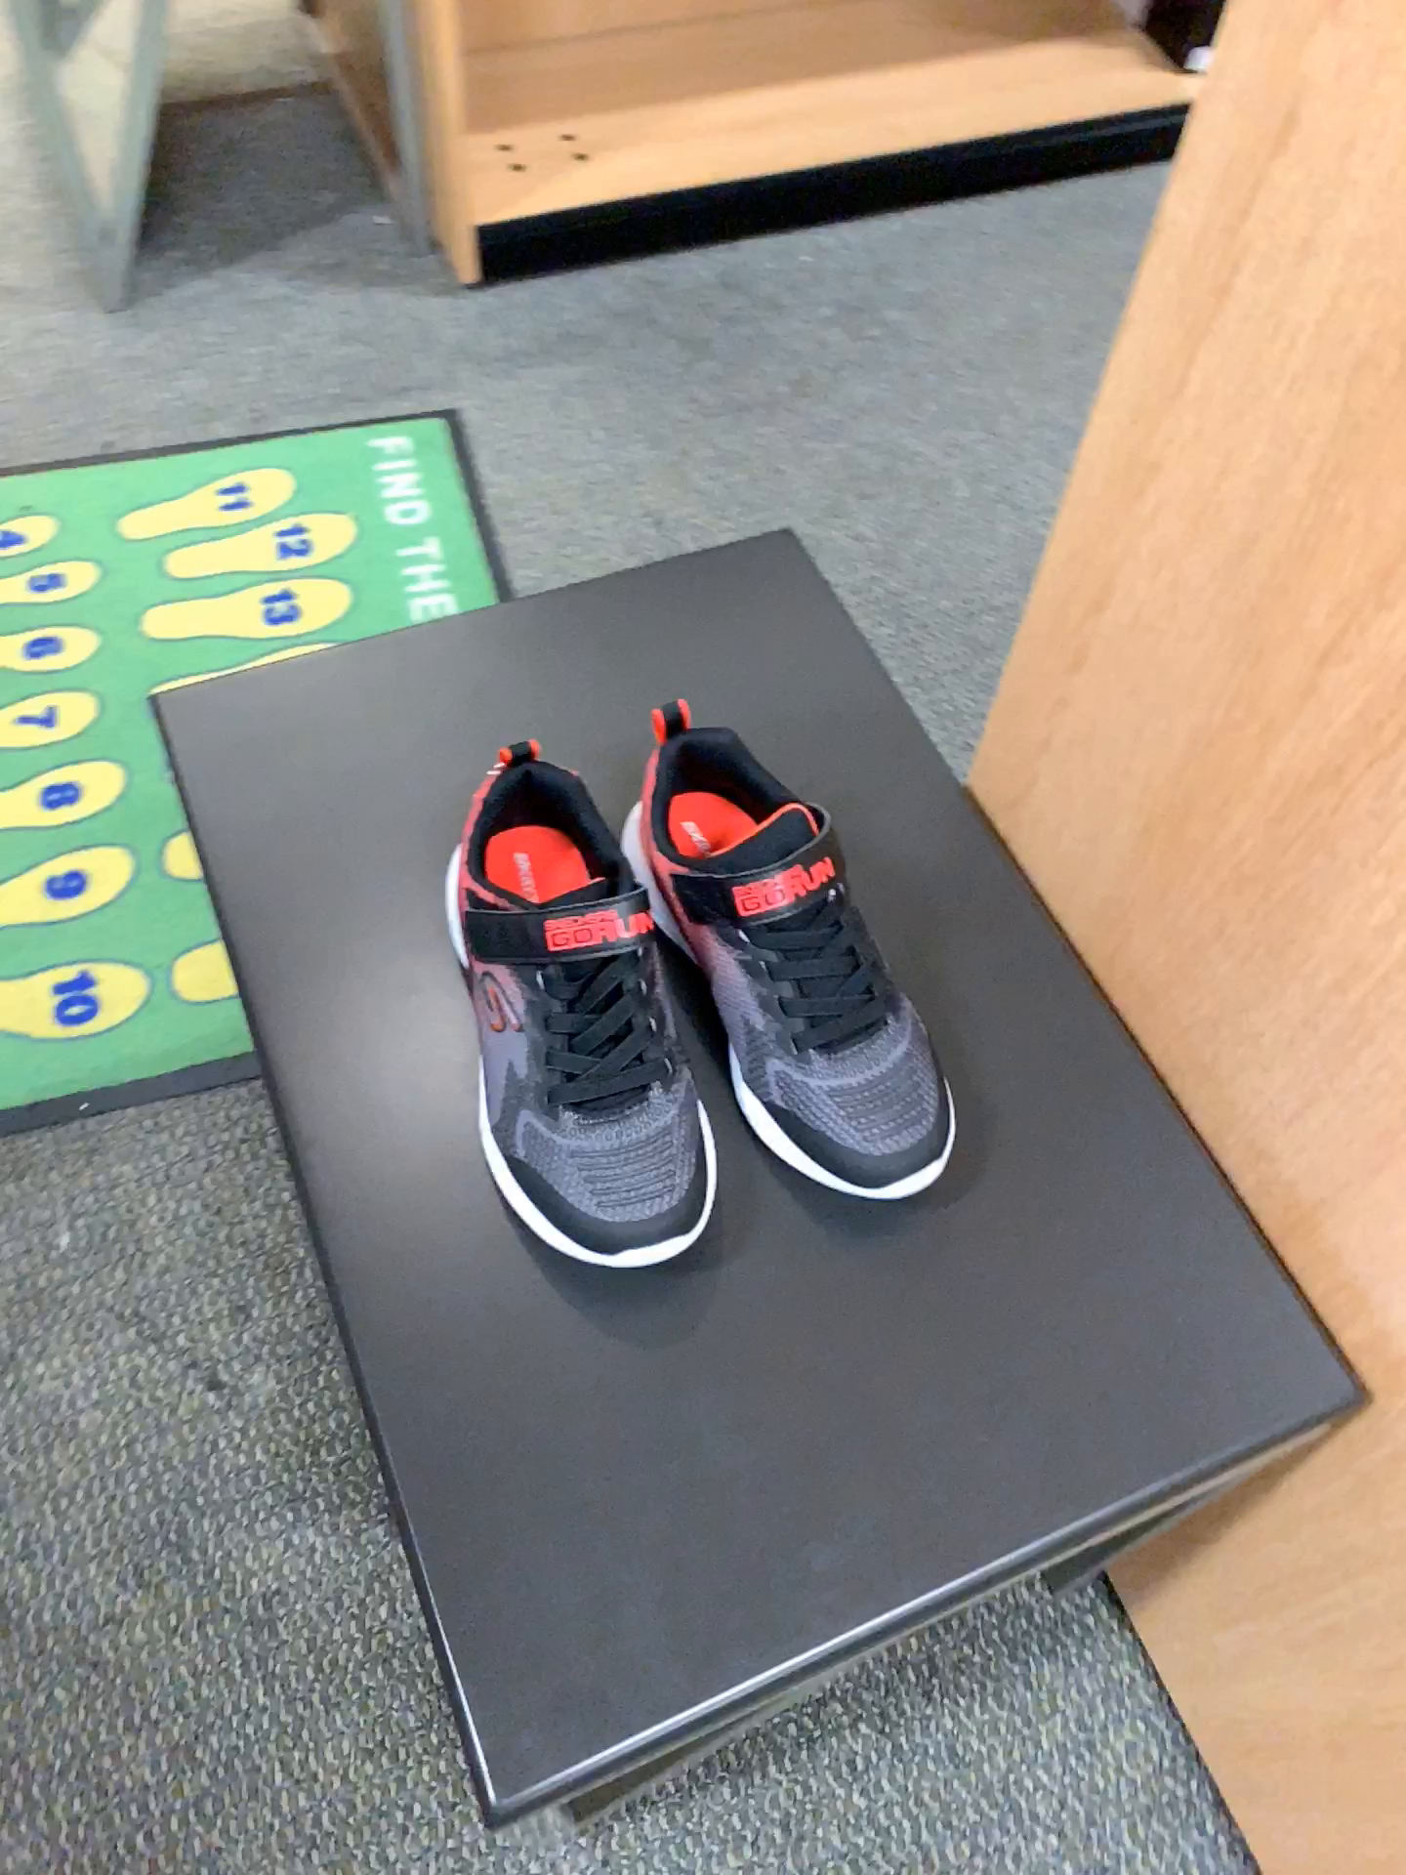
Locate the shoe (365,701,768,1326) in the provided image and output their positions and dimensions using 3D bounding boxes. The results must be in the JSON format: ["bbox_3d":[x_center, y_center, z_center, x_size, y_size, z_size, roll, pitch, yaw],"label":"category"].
[{"bbox_3d":[-0.064,0.024,0.608,0.098,0.080,0.241,-14,59,-13],"label":"shoe"}]

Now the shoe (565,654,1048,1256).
[{"bbox_3d":[0.033,0.000,0.619,0.090,0.080,0.241,-22,61,-17],"label":"shoe"}]
